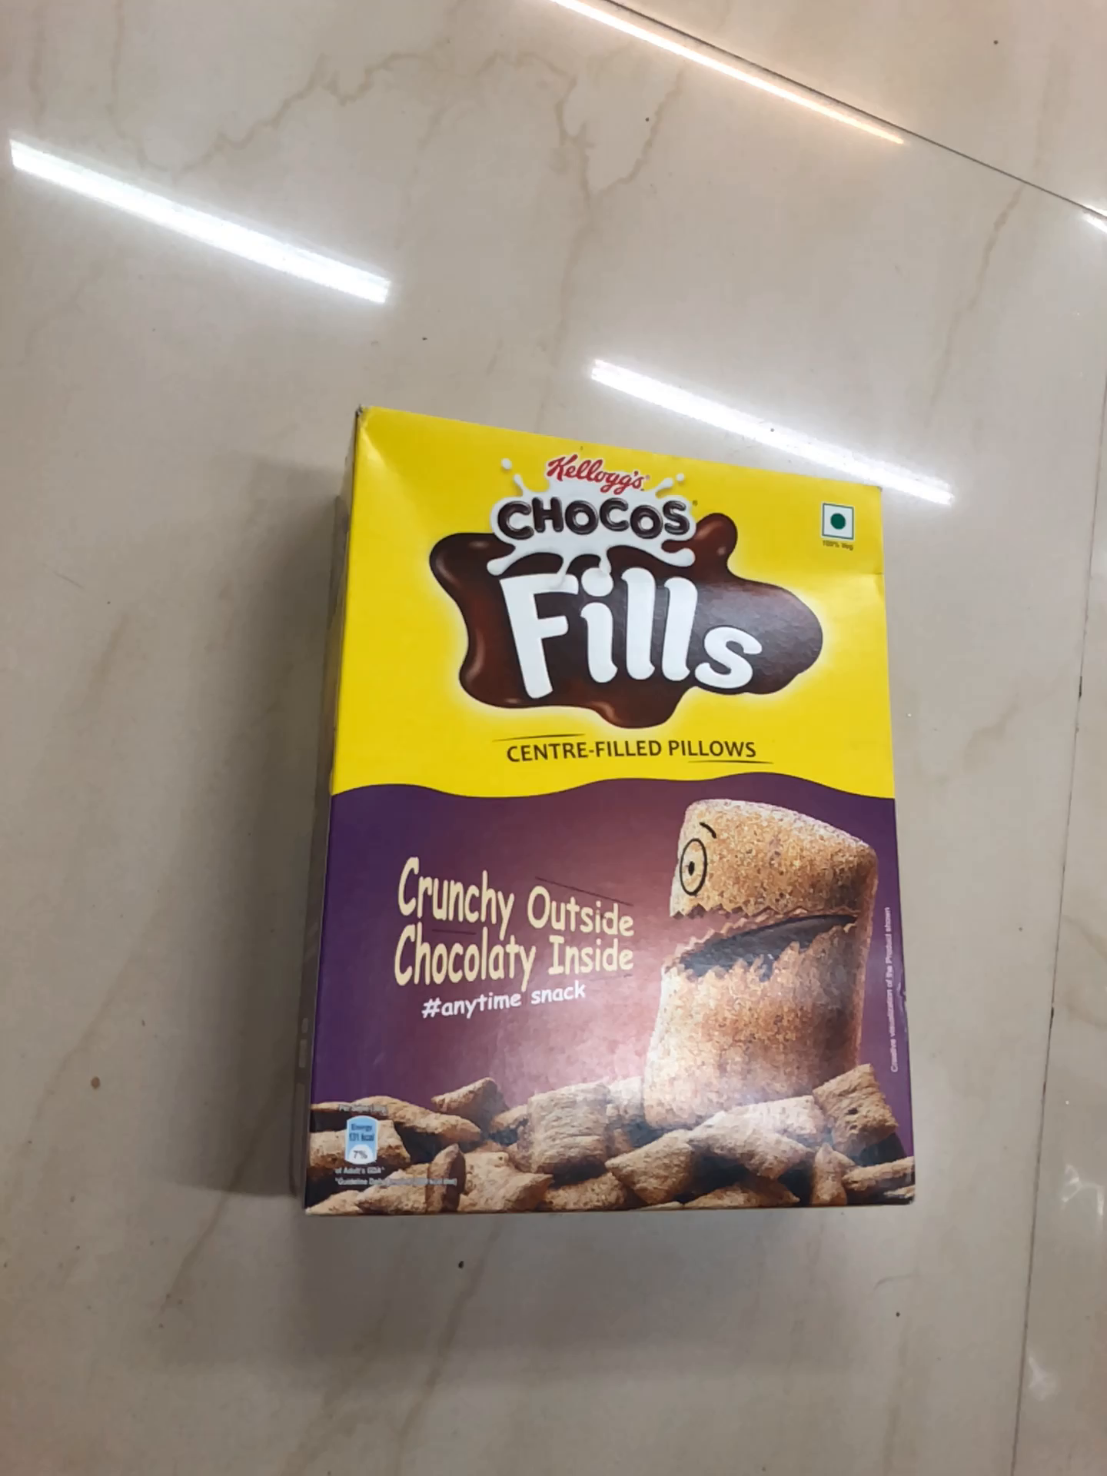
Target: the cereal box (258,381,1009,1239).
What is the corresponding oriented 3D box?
[{"bbox_3d":[0.021,0.025,0.378,0.200,0.070,0.230,5,72,-16],"label":"cereal box"}]
